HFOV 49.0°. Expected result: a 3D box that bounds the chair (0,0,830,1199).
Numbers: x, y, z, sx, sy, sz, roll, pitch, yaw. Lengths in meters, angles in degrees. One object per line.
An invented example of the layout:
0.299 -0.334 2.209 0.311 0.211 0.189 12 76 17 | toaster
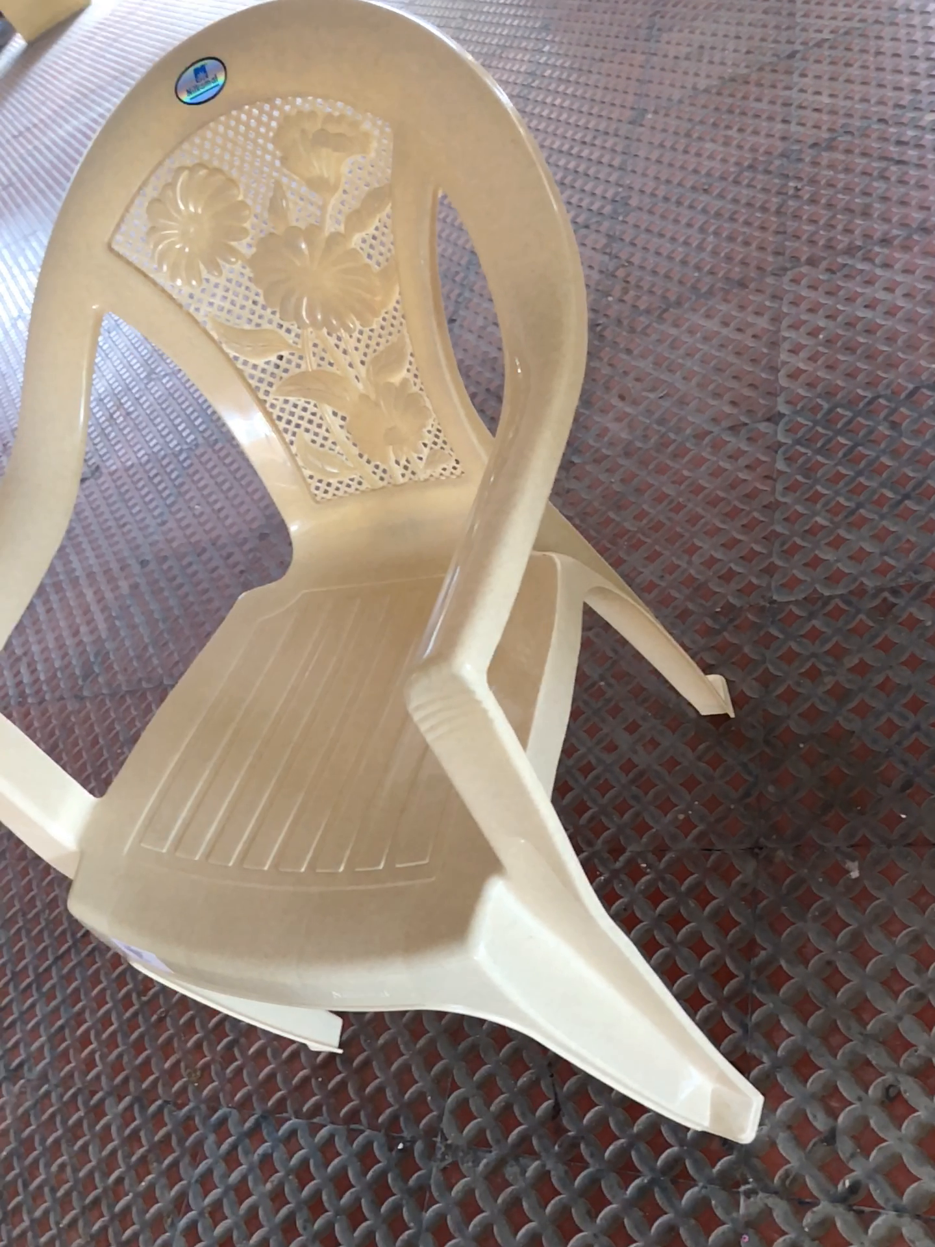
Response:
-0.088 0.015 0.885 0.531 0.806 0.612 -4 53 33 | chair
